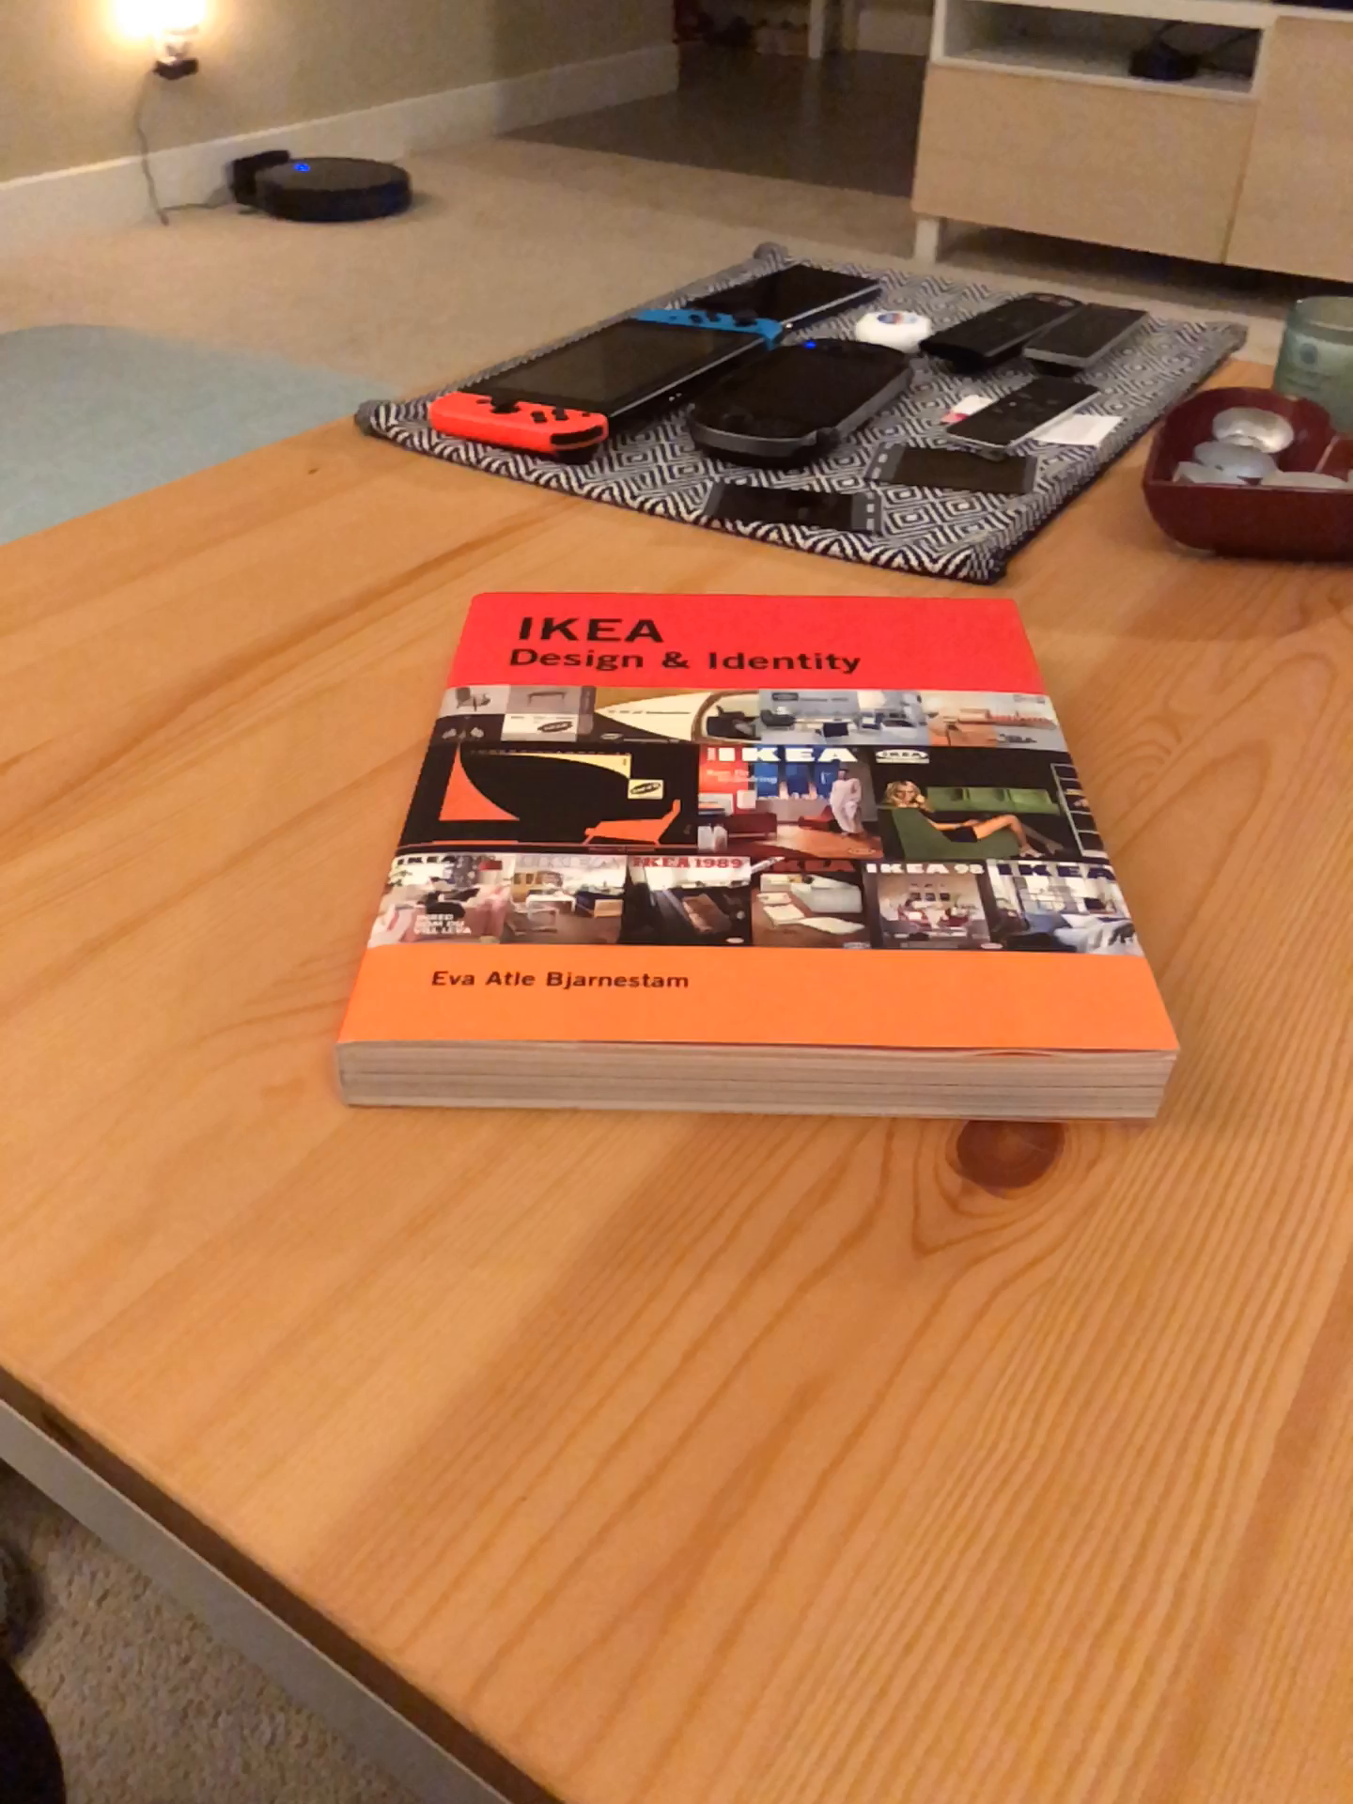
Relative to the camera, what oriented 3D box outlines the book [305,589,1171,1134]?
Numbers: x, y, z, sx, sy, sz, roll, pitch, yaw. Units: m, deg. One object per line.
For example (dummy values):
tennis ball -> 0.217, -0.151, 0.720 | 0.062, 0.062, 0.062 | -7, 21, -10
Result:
book -> 0.017, -0.030, 0.482 | 0.216, 0.030, 0.256 | 1, 37, 0
